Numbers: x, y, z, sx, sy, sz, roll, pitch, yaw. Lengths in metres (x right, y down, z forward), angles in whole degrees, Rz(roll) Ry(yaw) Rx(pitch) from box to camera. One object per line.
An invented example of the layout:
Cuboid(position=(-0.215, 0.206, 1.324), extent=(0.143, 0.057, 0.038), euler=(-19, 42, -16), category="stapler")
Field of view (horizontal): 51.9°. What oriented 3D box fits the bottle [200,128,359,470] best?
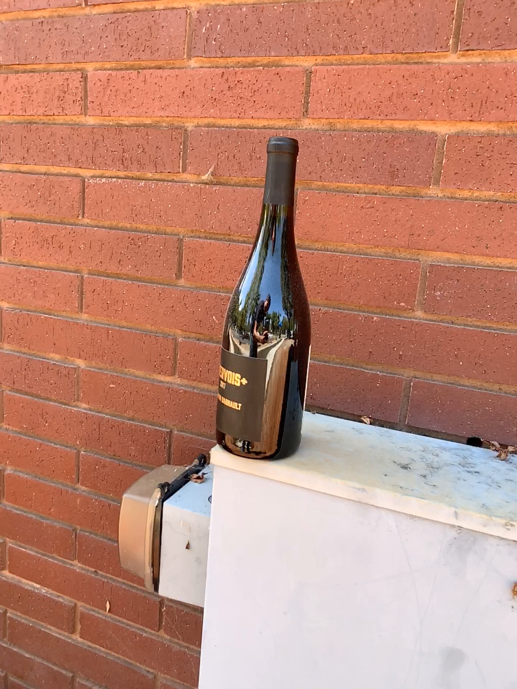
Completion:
Cuboid(position=(0.014, -0.041, 0.506), extent=(0.090, 0.289, 0.090), euler=(5, 12, -1), category="bottle")
